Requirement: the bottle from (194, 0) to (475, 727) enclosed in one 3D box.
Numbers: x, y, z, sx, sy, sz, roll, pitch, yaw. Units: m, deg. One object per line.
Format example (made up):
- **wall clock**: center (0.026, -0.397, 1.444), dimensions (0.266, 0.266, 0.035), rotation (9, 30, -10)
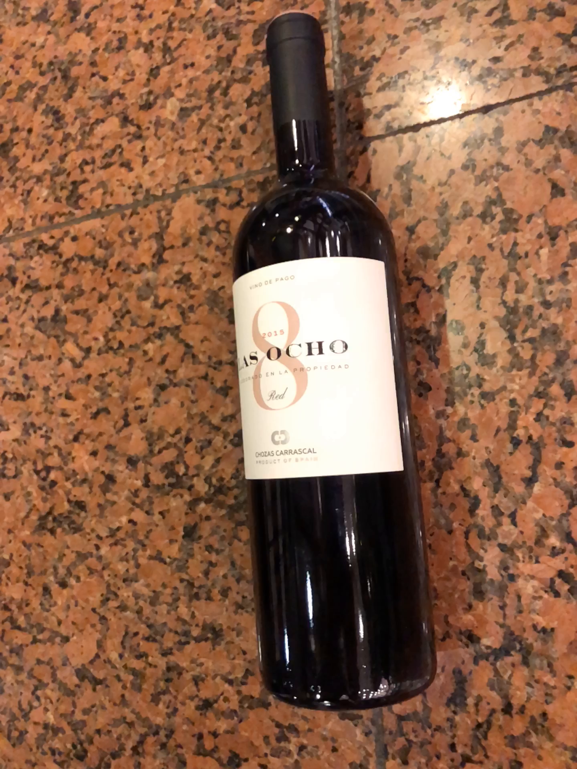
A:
- **bottle**: center (0.020, -0.039, 0.297), dimensions (0.080, 0.070, 0.340), rotation (-8, 83, 26)
